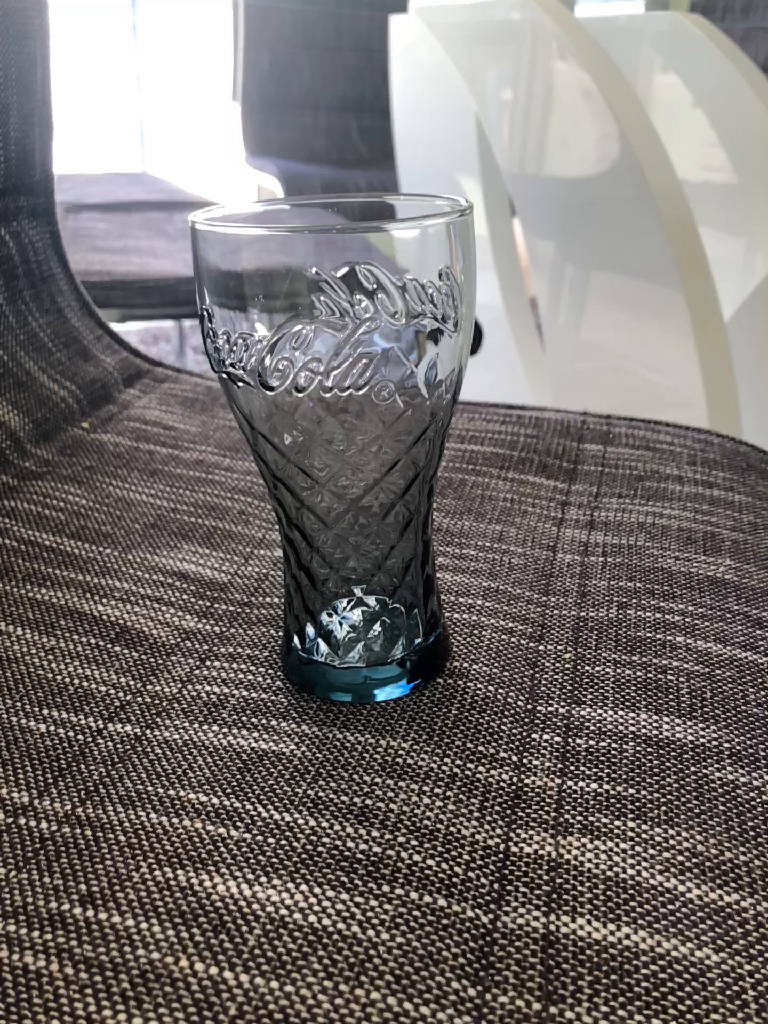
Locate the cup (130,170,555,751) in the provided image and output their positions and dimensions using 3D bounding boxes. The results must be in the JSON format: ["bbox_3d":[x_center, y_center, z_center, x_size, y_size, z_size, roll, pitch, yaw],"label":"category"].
[{"bbox_3d":[-0.007,-0.023,0.253,0.080,0.139,0.080,-3,23,1],"label":"cup"}]
